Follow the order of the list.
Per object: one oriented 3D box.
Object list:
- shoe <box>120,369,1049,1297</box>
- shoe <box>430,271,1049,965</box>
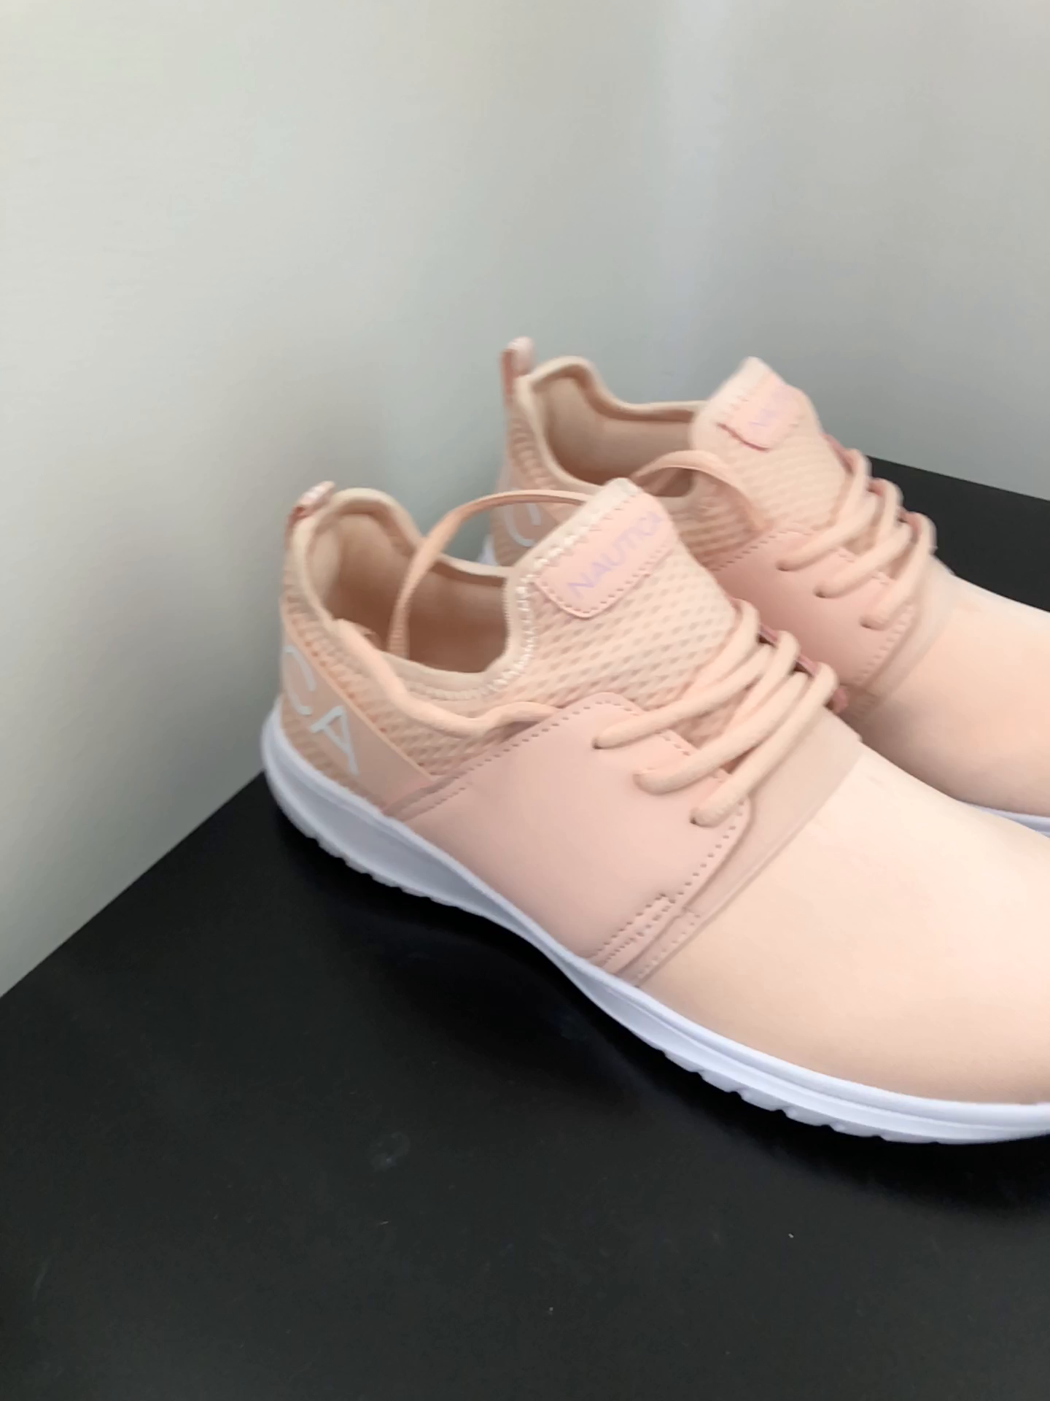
[{"bbox_3d":[0.037,0.013,0.291,0.251,0.110,0.100,21,42,24],"label":"shoe"},{"bbox_3d":[0.101,-0.039,0.353,0.240,0.110,0.100,21,42,24],"label":"shoe"}]
